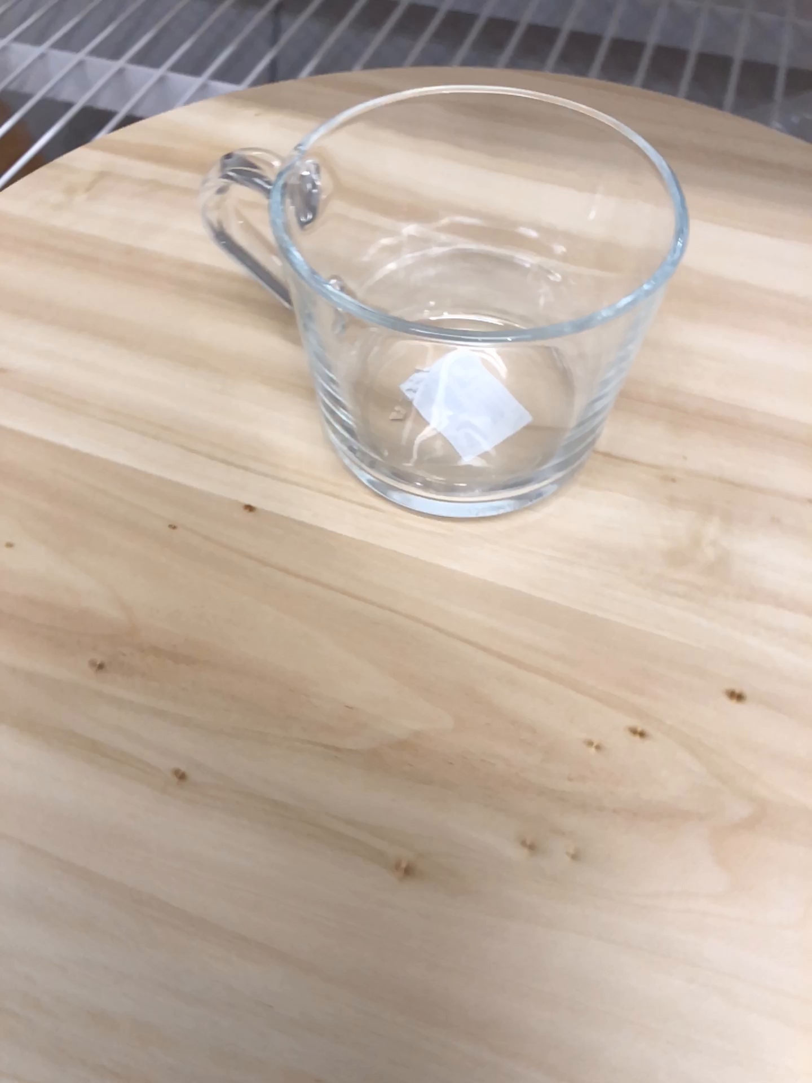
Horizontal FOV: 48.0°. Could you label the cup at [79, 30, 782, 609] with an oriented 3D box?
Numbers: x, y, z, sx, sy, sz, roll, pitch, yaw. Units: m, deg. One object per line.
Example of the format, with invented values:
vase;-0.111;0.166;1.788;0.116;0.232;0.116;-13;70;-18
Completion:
cup;0.008;-0.058;0.216;0.120;0.060;0.090;24;56;16
